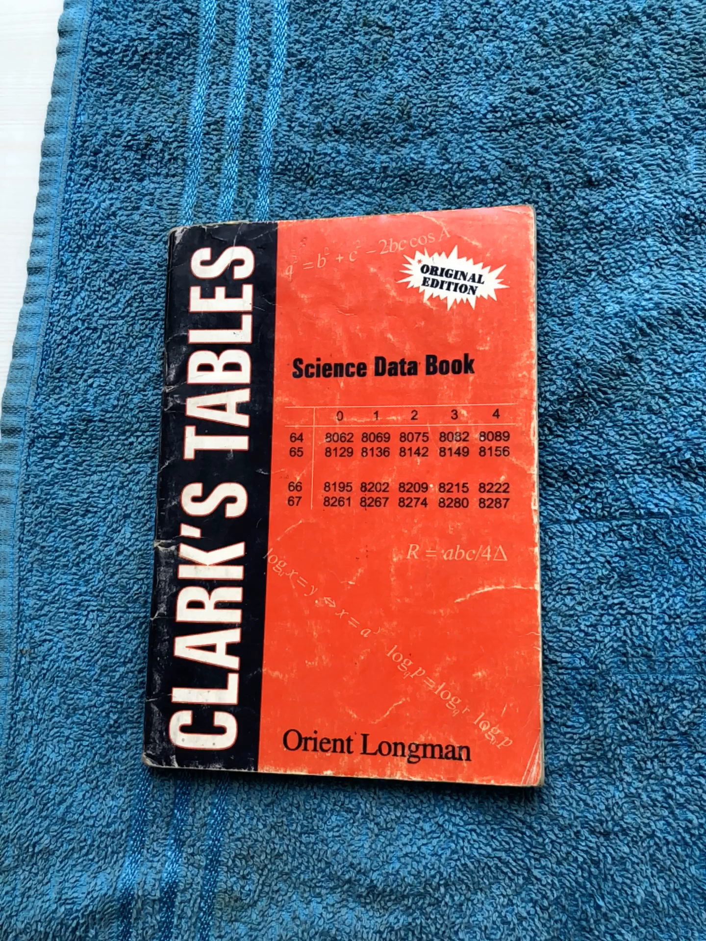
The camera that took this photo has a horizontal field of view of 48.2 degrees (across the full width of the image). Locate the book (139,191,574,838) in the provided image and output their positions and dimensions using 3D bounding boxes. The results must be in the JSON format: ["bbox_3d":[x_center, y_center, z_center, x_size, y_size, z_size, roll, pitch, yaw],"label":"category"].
[{"bbox_3d":[0.002,0.010,0.242,0.120,0.030,0.180,0,82,8],"label":"book"}]
